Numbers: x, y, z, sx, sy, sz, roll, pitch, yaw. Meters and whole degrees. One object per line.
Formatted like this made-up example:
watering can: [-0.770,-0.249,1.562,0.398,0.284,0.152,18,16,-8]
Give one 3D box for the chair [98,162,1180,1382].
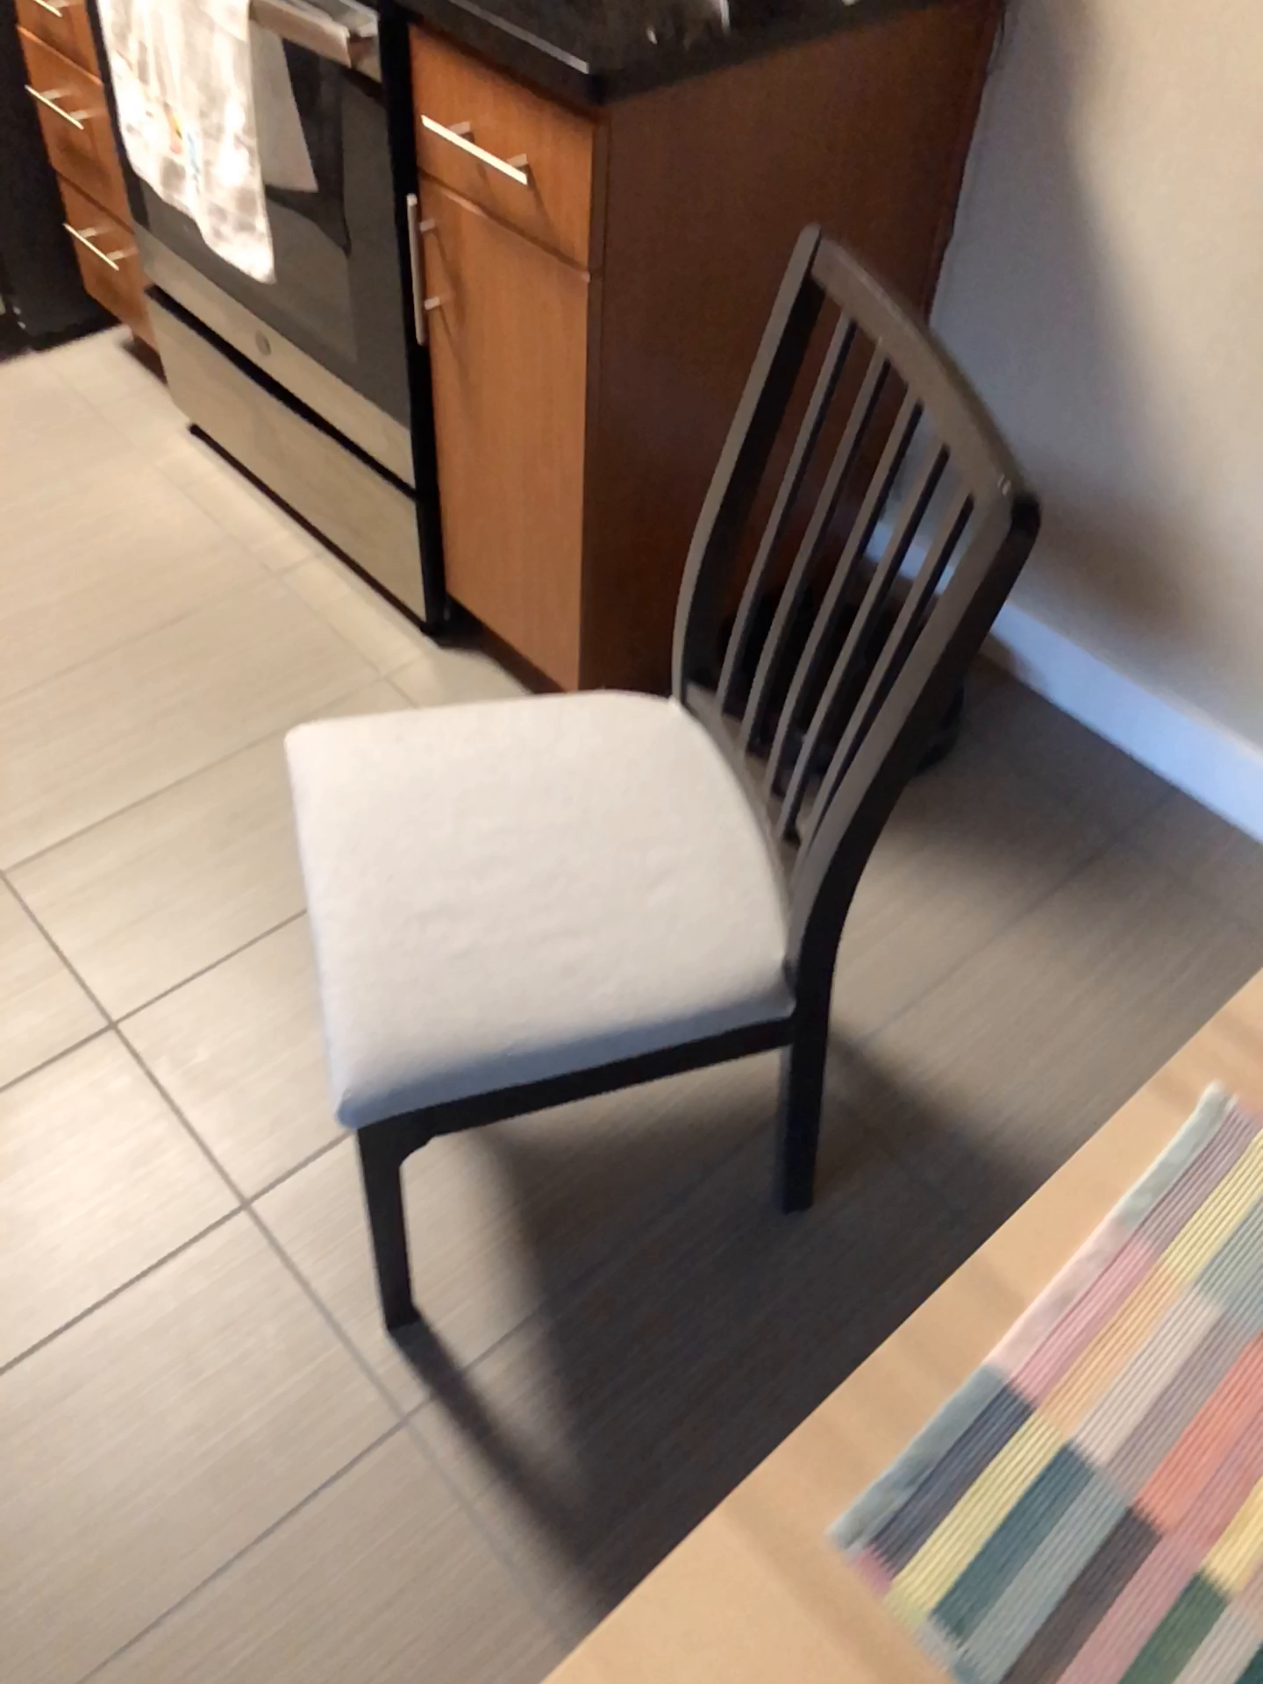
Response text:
chair: [-0.067,-0.032,1.241,0.590,0.846,0.582,-9,50,-12]
